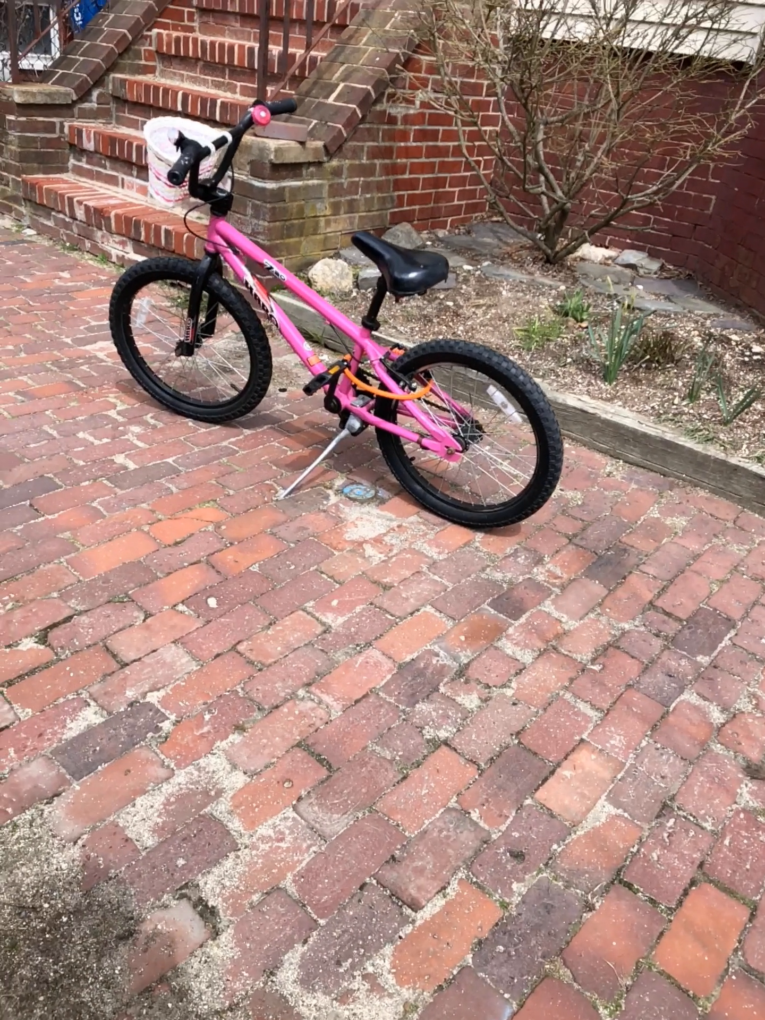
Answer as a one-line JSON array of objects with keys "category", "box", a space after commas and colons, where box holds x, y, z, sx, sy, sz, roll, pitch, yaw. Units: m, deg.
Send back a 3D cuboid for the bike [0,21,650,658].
[{"category": "bike", "box": [-0.228, -0.475, 1.972, 1.338, 0.906, 0.714, 22, 32, 20]}]
